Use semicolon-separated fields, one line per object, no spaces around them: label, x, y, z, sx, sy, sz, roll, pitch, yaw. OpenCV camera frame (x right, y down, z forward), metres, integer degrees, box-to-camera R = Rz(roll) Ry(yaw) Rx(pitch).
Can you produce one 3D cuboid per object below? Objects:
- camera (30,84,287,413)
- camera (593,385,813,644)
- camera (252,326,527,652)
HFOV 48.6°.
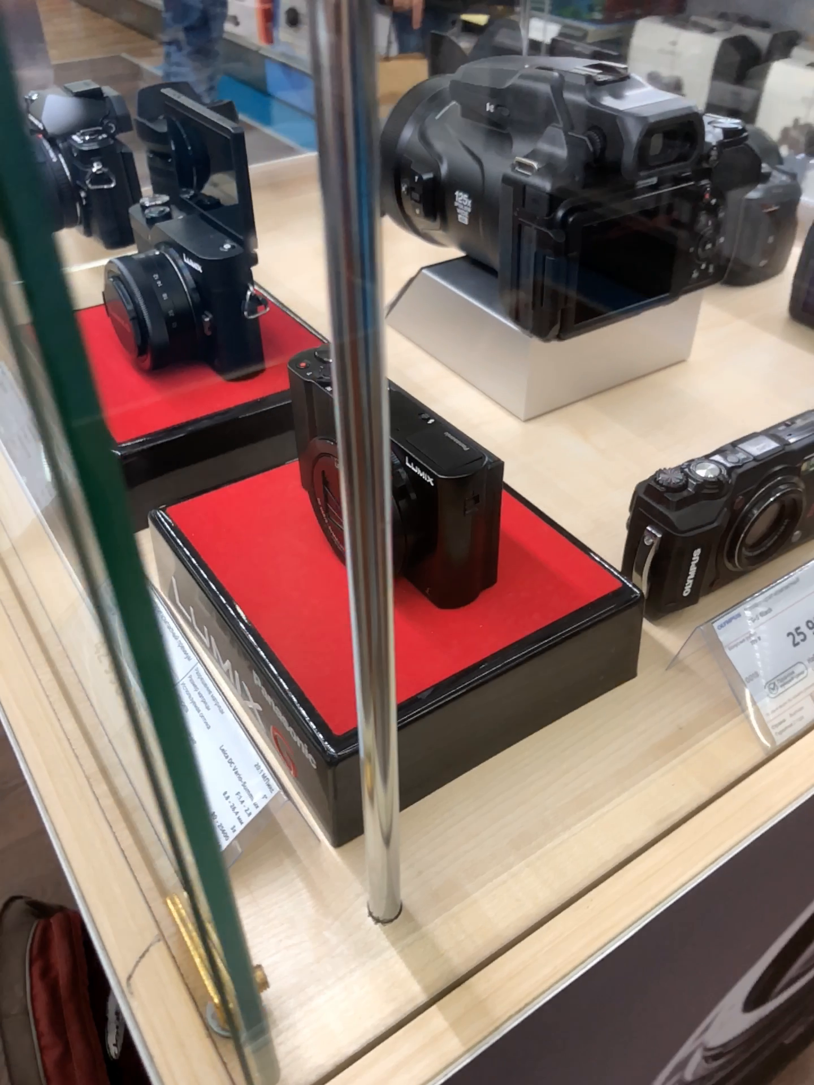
camera;-0.119;-0.145;0.438;0.066;0.112;0.110;-24;45;-26
camera;0.137;-0.013;0.386;0.110;0.072;0.033;-22;44;-24
camera;-0.010;-0.024;0.340;0.040;0.070;0.110;-25;46;-27
